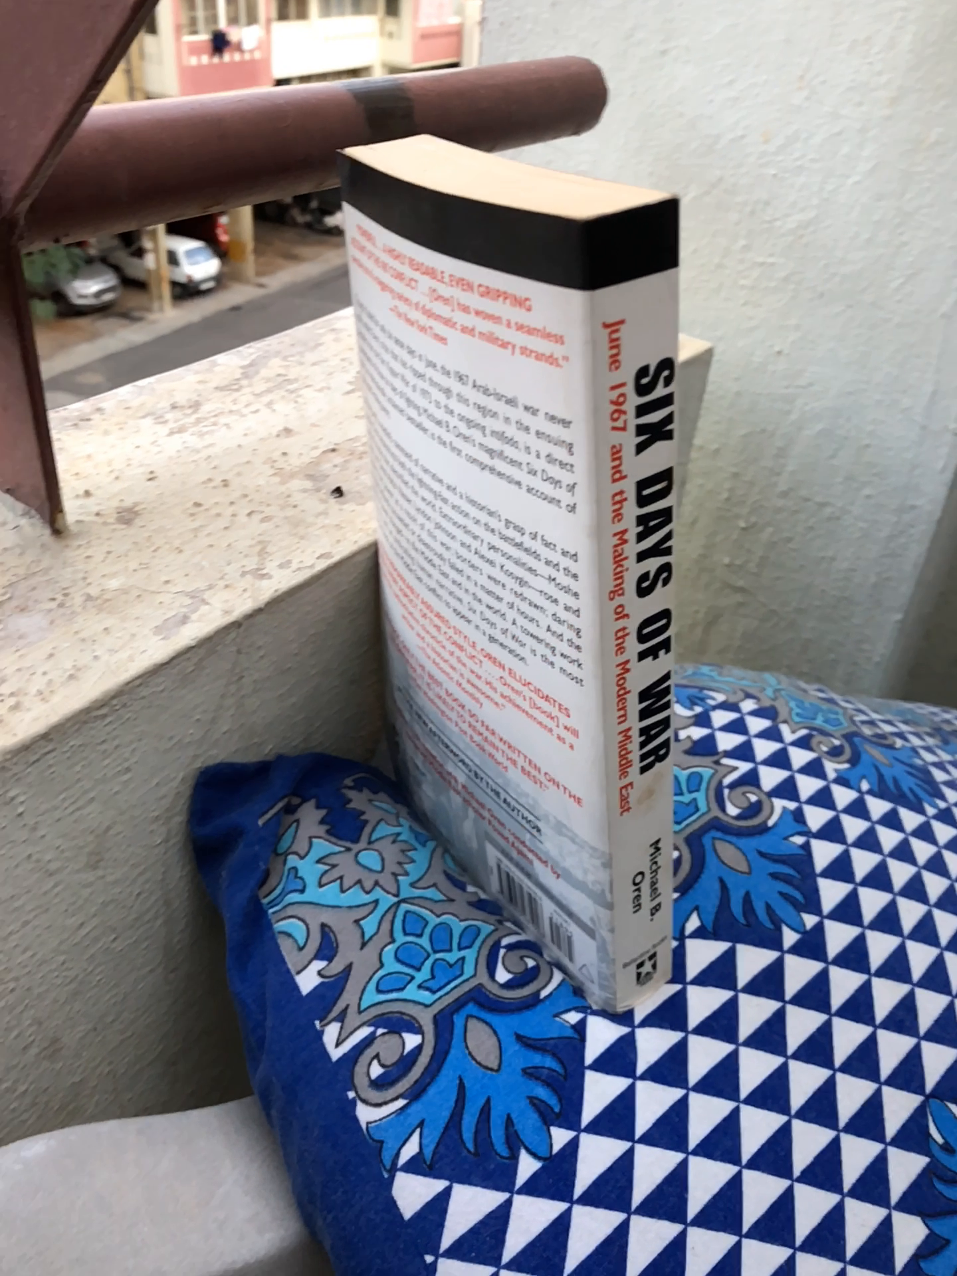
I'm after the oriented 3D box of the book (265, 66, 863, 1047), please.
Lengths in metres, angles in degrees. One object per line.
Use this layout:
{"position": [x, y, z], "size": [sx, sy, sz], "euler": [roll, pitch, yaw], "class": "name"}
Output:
{"position": [0.007, -0.026, 0.333], "size": [0.050, 0.249, 0.180], "euler": [-20, 40, -26], "class": "book"}
